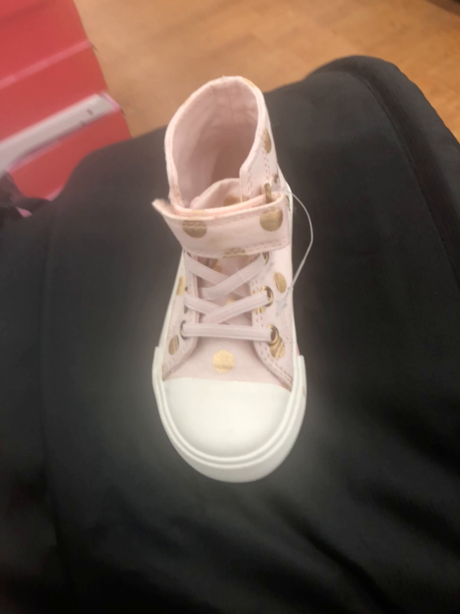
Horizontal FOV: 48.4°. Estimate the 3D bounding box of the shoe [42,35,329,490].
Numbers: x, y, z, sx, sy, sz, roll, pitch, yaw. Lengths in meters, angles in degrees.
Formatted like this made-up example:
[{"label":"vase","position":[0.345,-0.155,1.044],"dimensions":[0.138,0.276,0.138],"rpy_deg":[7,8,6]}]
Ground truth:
[{"label":"shoe","position":[0.001,-0.022,0.228],"dimensions":[0.080,0.100,0.170],"rpy_deg":[1,57,10]}]
